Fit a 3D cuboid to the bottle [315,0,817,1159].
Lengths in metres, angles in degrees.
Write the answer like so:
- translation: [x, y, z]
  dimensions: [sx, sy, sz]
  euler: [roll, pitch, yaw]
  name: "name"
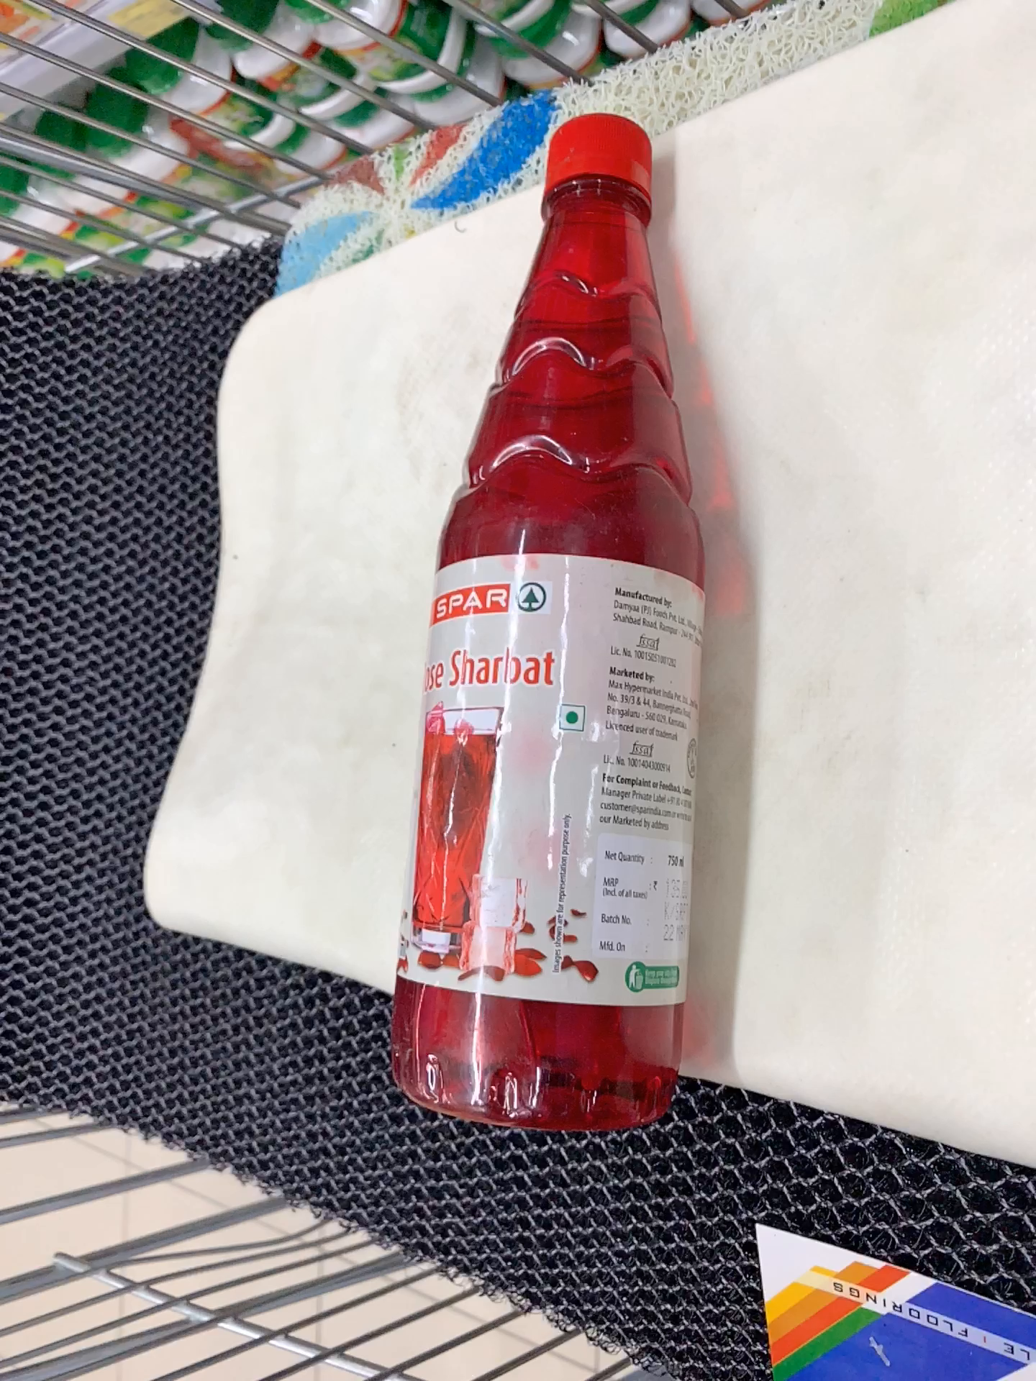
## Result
- translation: [0.015, -0.028, 0.245]
  dimensions: [0.070, 0.070, 0.230]
  euler: [-4, 78, 43]
  name: "bottle"
